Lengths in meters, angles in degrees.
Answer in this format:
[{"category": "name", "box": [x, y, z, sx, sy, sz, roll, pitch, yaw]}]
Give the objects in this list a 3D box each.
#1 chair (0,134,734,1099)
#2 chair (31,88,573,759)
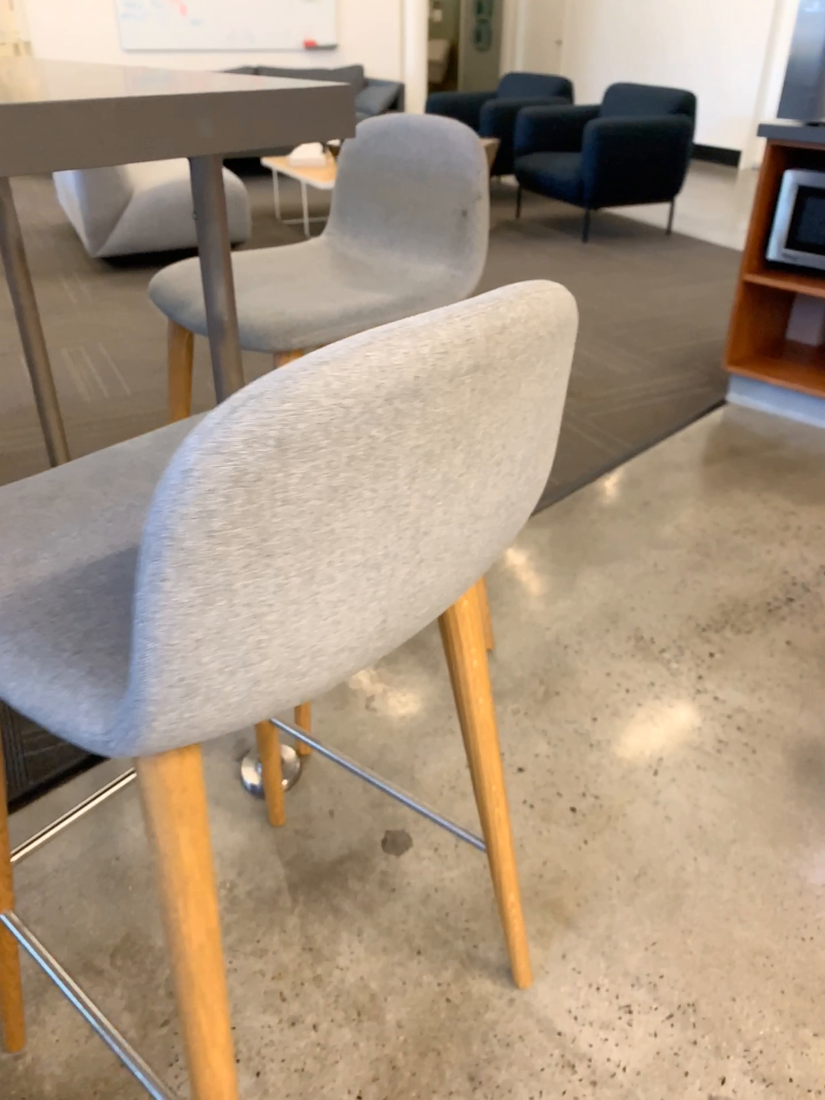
[{"category": "chair", "box": [-0.153, 0.157, 0.865, 0.542, 0.964, 0.591, 24, 38, 33]}, {"category": "chair", "box": [-0.203, -0.288, 1.595, 0.541, 0.964, 0.713, -24, 39, -35]}]
